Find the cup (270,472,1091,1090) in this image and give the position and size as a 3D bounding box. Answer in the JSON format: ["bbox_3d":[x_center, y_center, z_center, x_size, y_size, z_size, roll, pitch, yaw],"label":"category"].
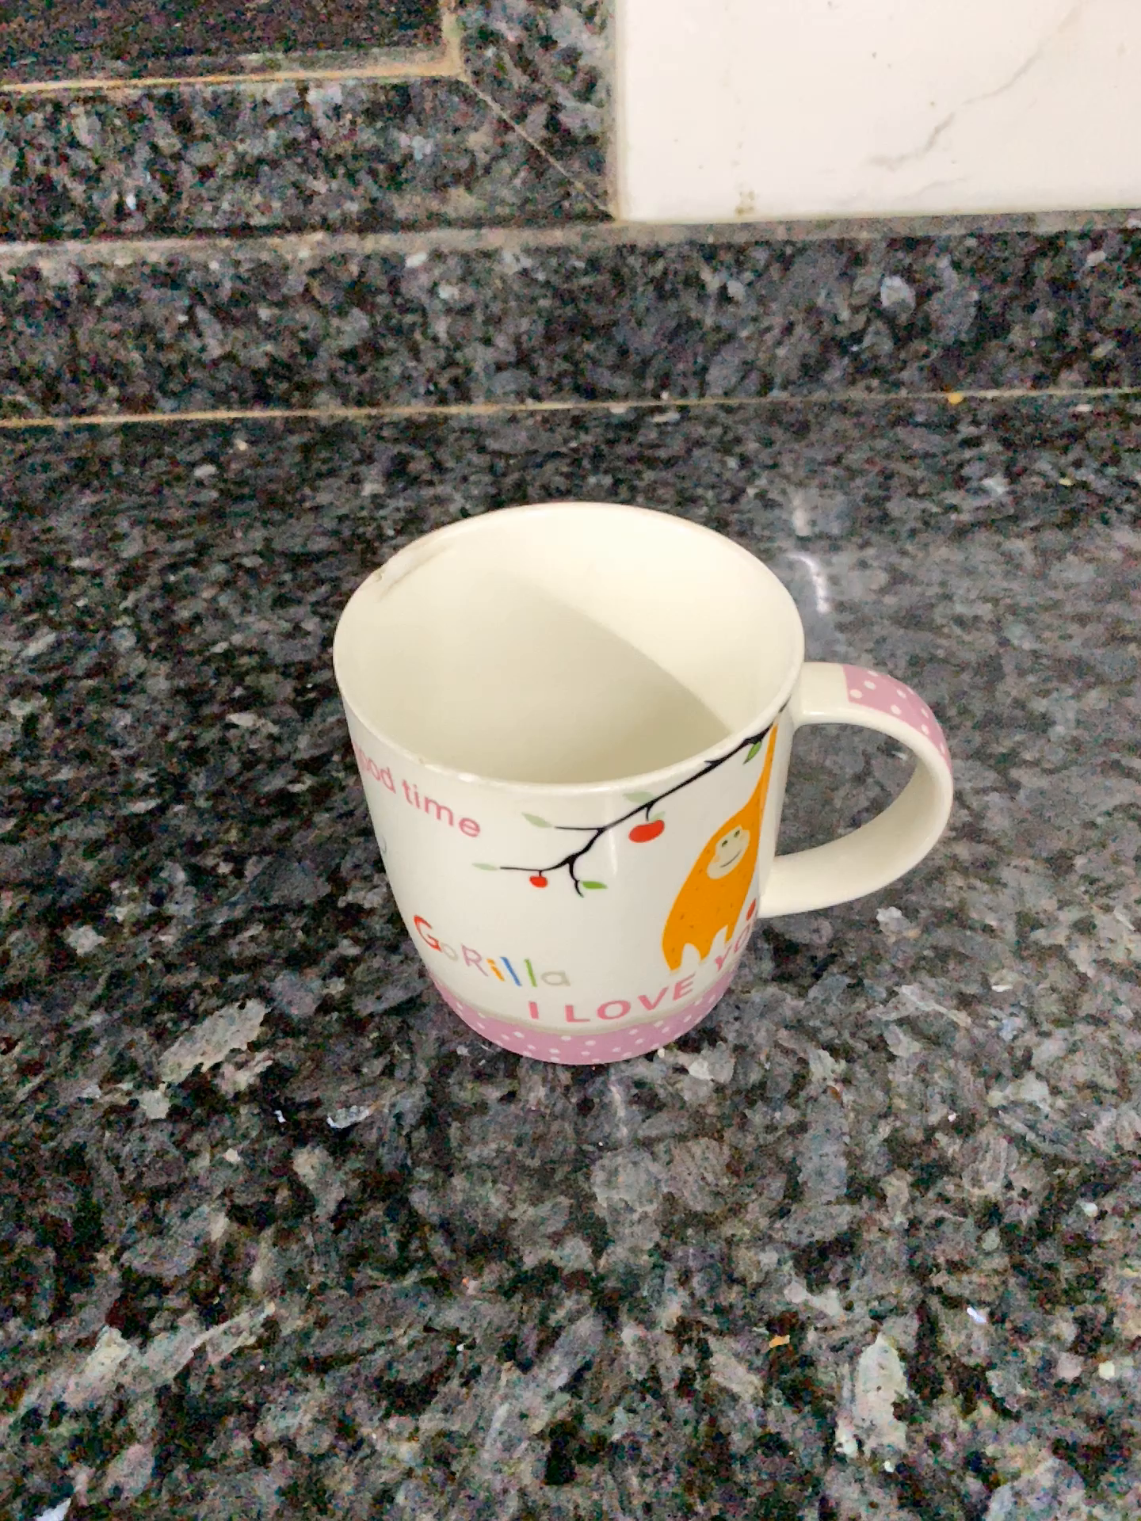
[{"bbox_3d":[0.018,0.005,0.234,0.120,0.089,0.081,0,44,3],"label":"cup"}]
